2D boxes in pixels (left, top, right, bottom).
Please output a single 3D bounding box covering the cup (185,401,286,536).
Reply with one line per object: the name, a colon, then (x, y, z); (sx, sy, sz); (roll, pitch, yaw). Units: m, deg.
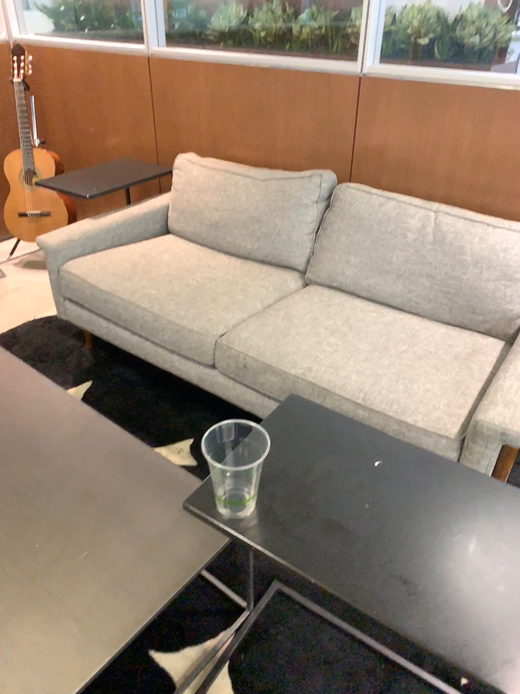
cup: (-0.035, 0.174, 0.773); (0.100, 0.129, 0.100); (1, 33, 0)
